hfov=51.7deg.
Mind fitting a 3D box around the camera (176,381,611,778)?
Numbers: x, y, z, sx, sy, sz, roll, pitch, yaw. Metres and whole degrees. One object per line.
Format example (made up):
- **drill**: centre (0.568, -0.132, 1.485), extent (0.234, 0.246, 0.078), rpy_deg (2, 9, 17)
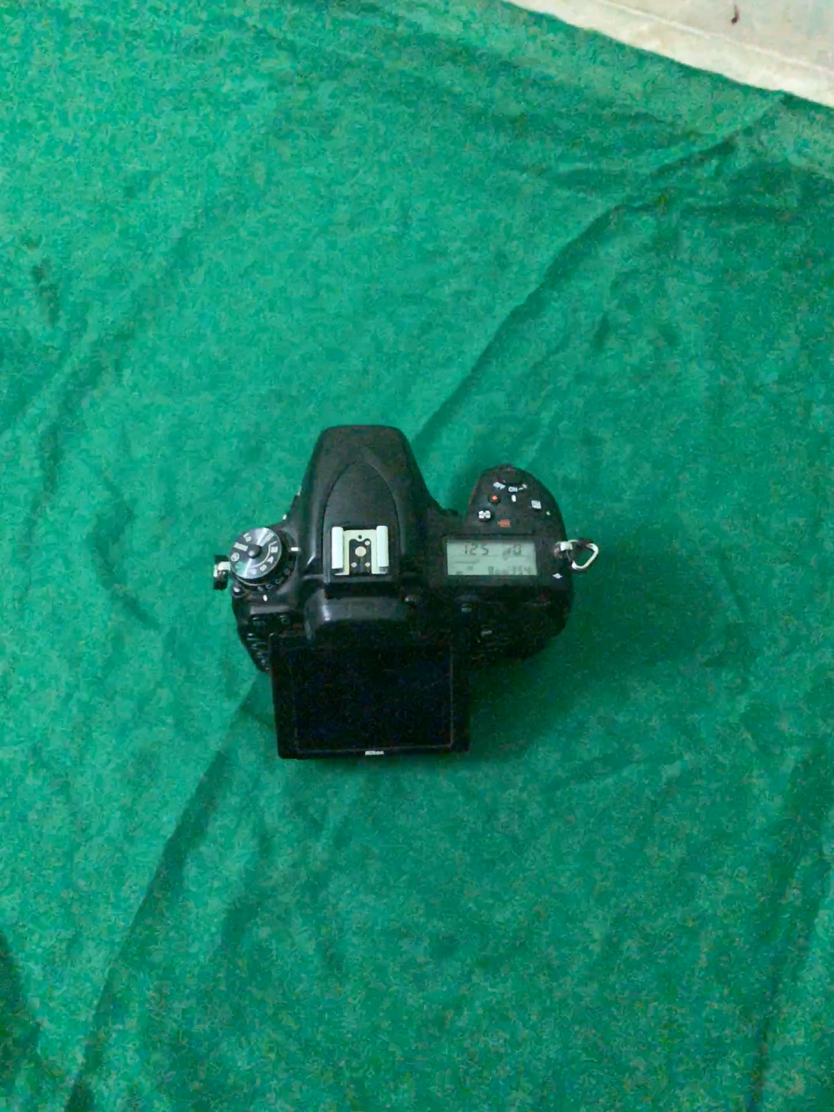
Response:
- **camera**: centre (-0.006, 0.014, 0.352), extent (0.142, 0.100, 0.128), rpy_deg (2, 65, 1)
